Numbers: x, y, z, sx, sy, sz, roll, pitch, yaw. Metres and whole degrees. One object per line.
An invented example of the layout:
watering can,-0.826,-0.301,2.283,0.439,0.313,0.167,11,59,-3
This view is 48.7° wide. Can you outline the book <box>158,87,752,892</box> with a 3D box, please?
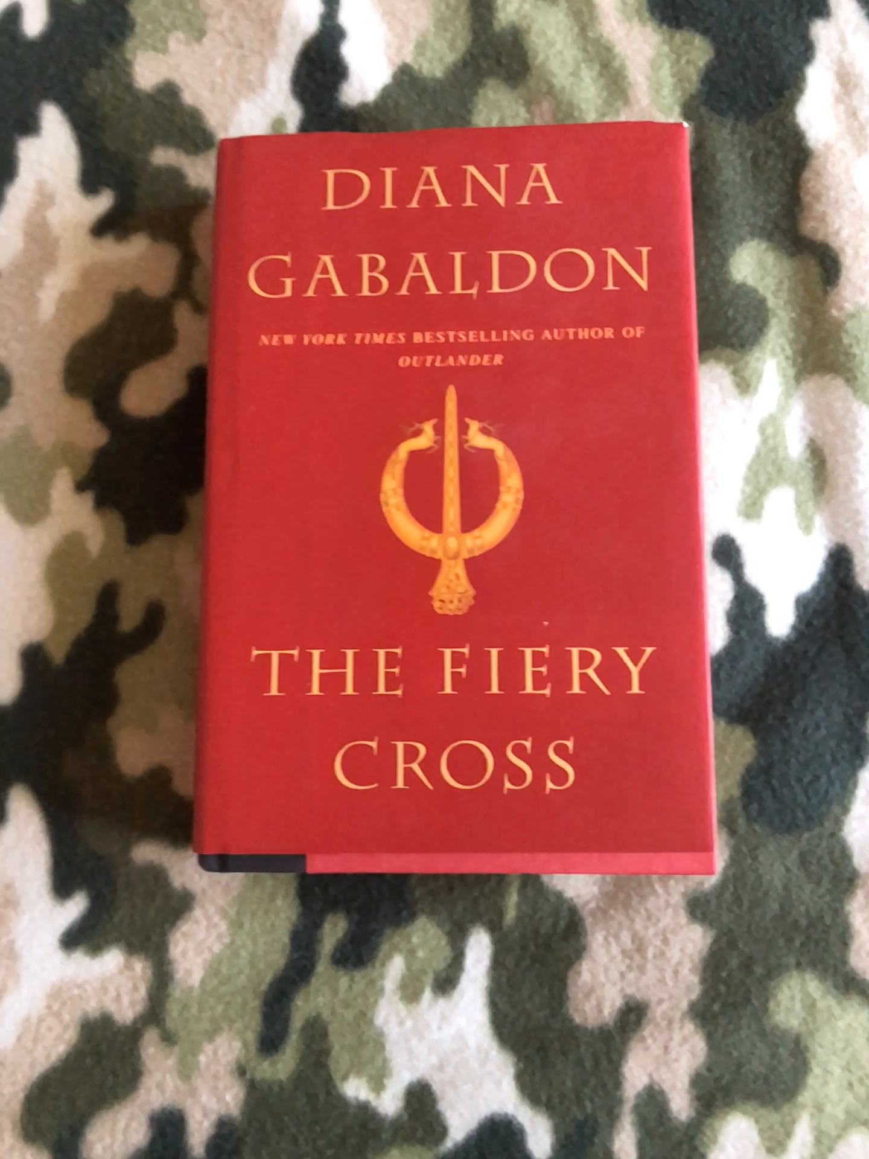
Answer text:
book,0.006,-0.030,0.327,0.170,0.070,0.250,0,82,1
